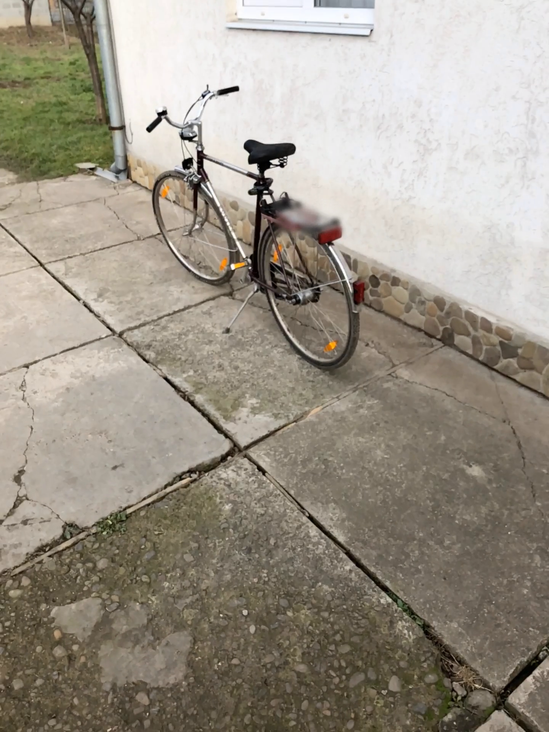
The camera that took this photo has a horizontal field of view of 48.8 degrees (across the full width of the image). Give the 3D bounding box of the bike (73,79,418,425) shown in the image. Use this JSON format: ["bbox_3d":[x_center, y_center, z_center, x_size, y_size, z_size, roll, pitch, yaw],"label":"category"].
[{"bbox_3d":[-0.247,-0.670,2.856,0.598,1.054,1.716,-21,37,-30],"label":"bike"}]
